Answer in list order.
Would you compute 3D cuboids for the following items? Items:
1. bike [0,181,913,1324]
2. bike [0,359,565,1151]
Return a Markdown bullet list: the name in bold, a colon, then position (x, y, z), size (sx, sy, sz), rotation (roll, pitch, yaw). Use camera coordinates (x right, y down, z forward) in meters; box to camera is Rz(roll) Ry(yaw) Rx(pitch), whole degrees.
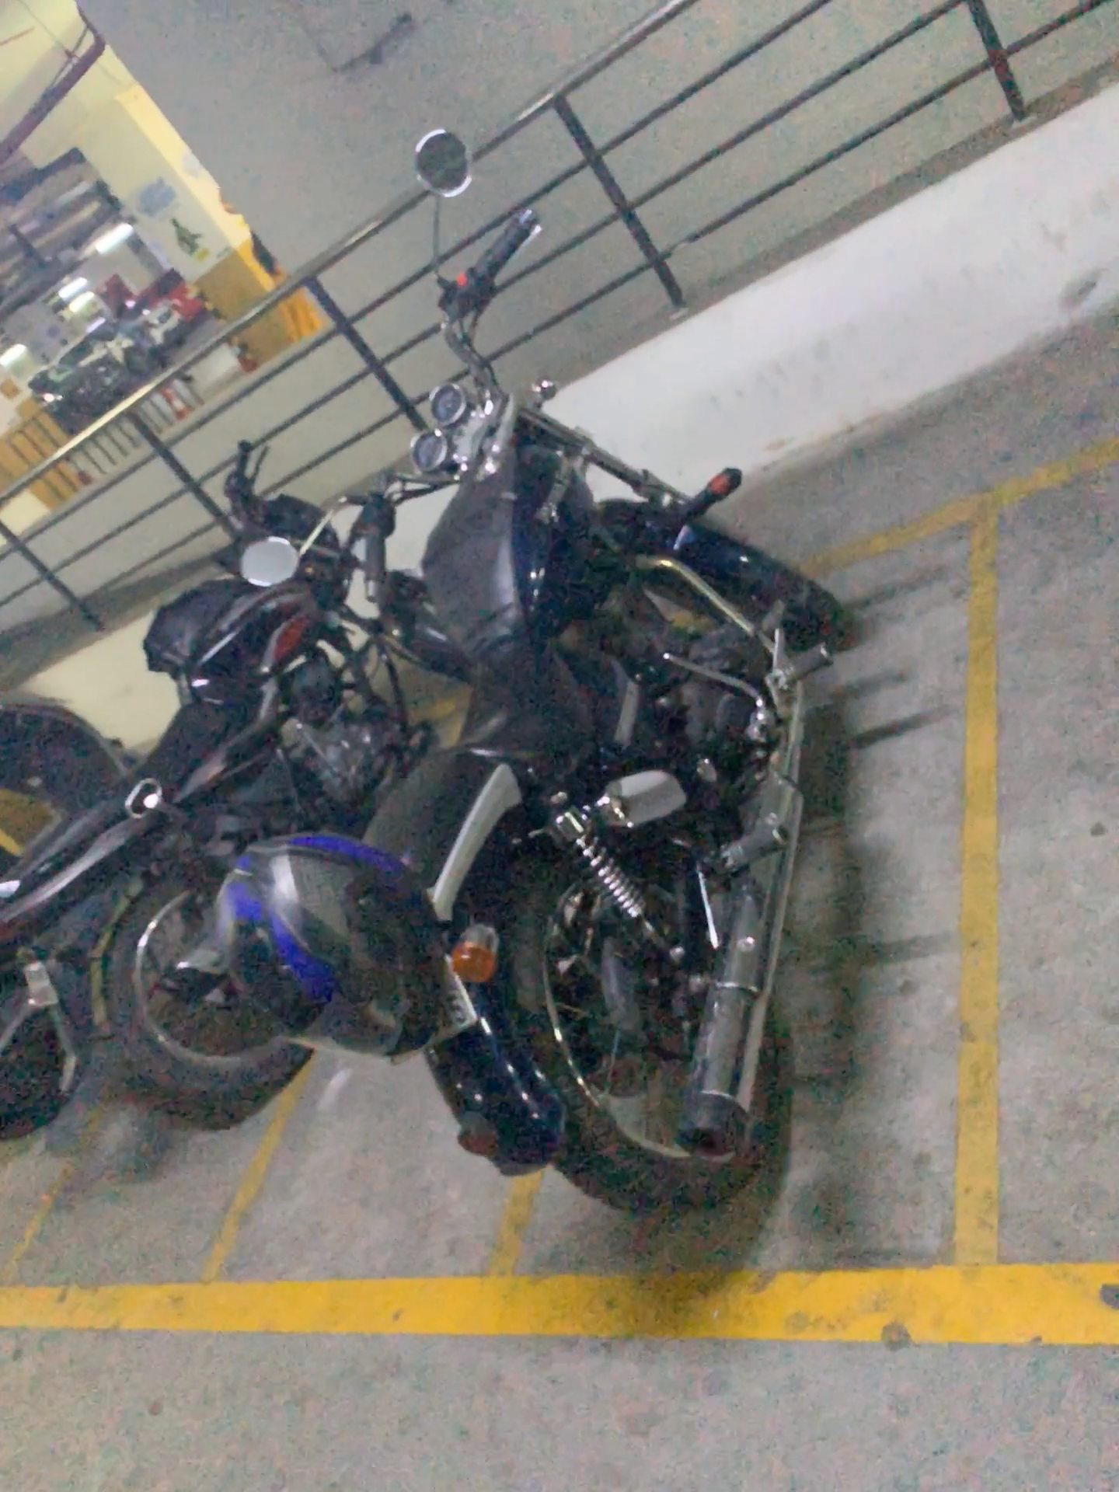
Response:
- **bike**: position (-0.136, -0.064, 2.238), size (0.844, 1.302, 1.671), rotation (-26, 31, 24)
- **bike**: position (-0.845, 0.007, 3.051), size (0.597, 1.192, 1.503), rotation (-7, 43, 46)
